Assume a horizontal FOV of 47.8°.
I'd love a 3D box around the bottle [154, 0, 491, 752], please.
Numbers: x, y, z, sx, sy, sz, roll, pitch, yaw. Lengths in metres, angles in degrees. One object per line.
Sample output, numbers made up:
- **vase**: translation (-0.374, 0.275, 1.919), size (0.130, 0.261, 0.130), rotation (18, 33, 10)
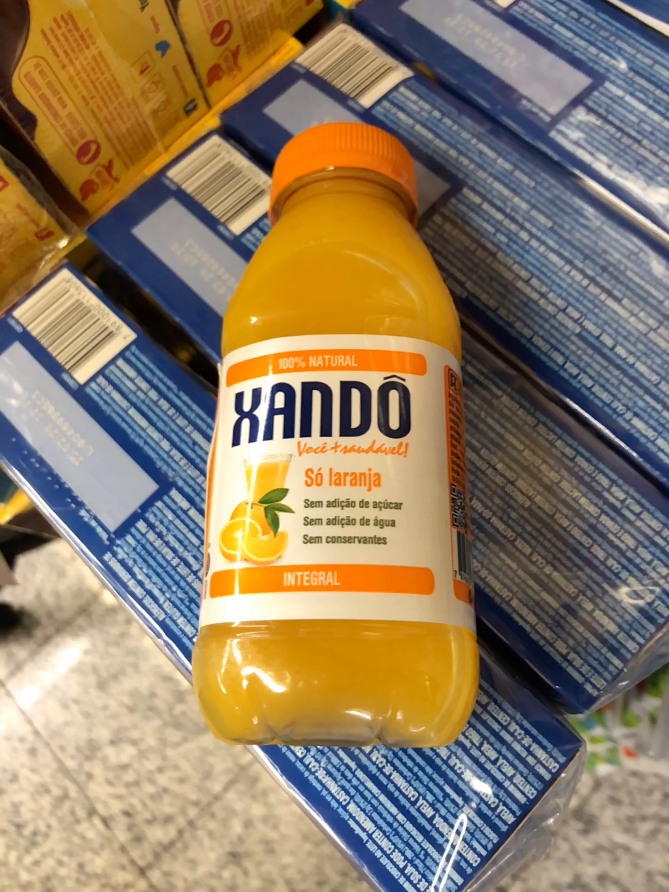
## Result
- **bottle**: translation (0.001, -0.015, 0.198), size (0.060, 0.080, 0.170), rotation (-3, 71, 6)
